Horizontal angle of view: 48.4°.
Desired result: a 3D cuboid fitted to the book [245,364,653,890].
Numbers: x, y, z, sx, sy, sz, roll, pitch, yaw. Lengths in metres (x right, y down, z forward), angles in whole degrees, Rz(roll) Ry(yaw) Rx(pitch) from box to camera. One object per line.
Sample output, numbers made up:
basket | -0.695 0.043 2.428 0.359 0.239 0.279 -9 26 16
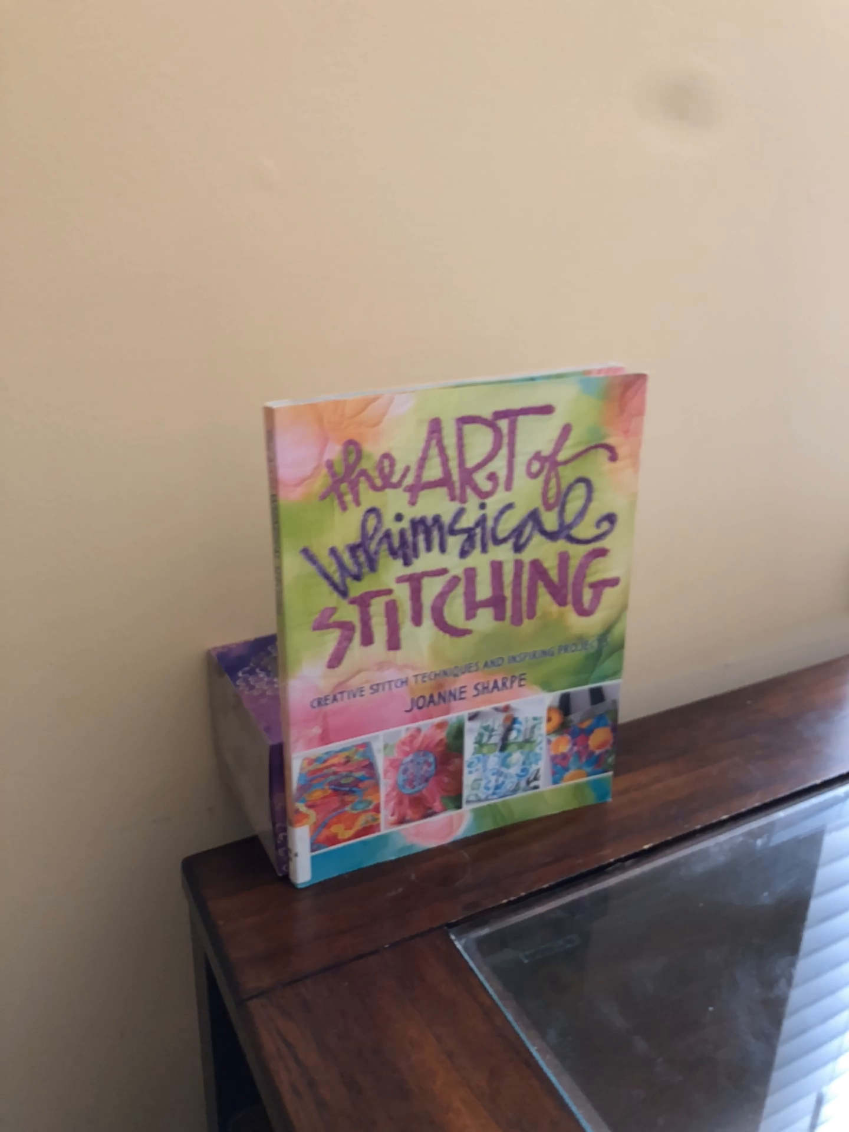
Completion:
book | 0.020 0.031 0.521 0.214 0.263 0.029 -9 21 -22
